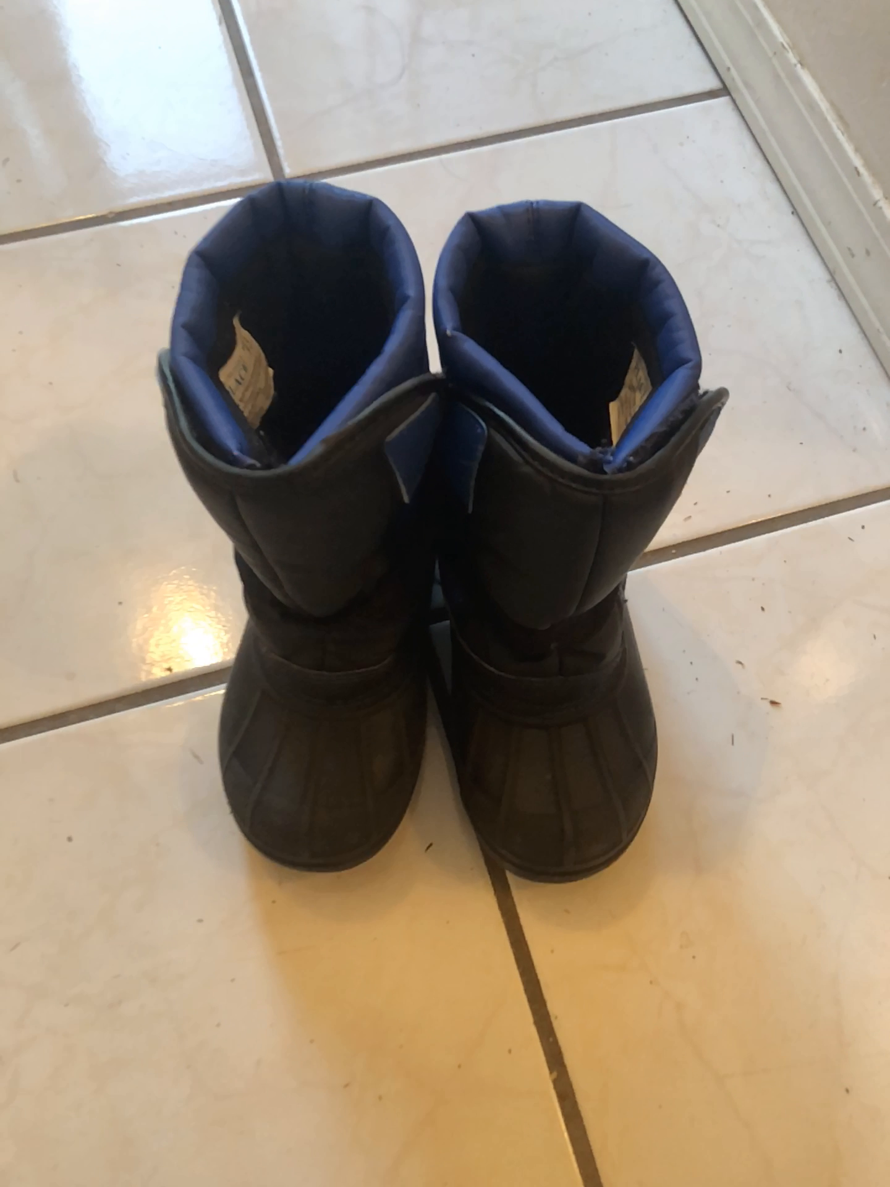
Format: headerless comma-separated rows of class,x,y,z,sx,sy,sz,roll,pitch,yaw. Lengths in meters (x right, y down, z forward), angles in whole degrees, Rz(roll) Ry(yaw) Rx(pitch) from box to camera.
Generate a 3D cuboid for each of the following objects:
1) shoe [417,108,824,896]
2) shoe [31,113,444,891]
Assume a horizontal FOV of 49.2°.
shoe,0.043,-0.021,0.393,0.100,0.199,0.251,-2,66,-1
shoe,-0.052,-0.017,0.374,0.100,0.199,0.231,0,66,-1
